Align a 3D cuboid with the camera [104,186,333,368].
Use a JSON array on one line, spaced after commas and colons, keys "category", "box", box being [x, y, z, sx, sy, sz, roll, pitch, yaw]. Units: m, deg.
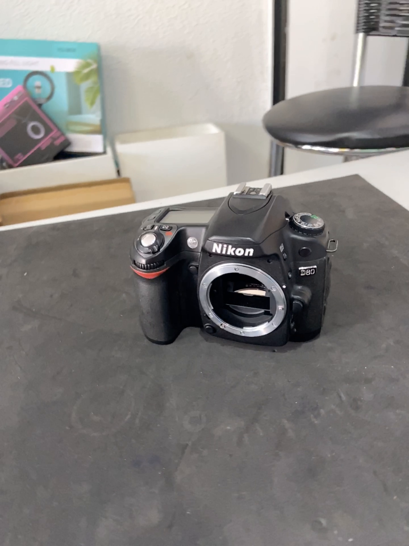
[{"category": "camera", "box": [0.017, -0.004, 0.305, 0.135, 0.088, 0.084, 5, 34, 17]}]
